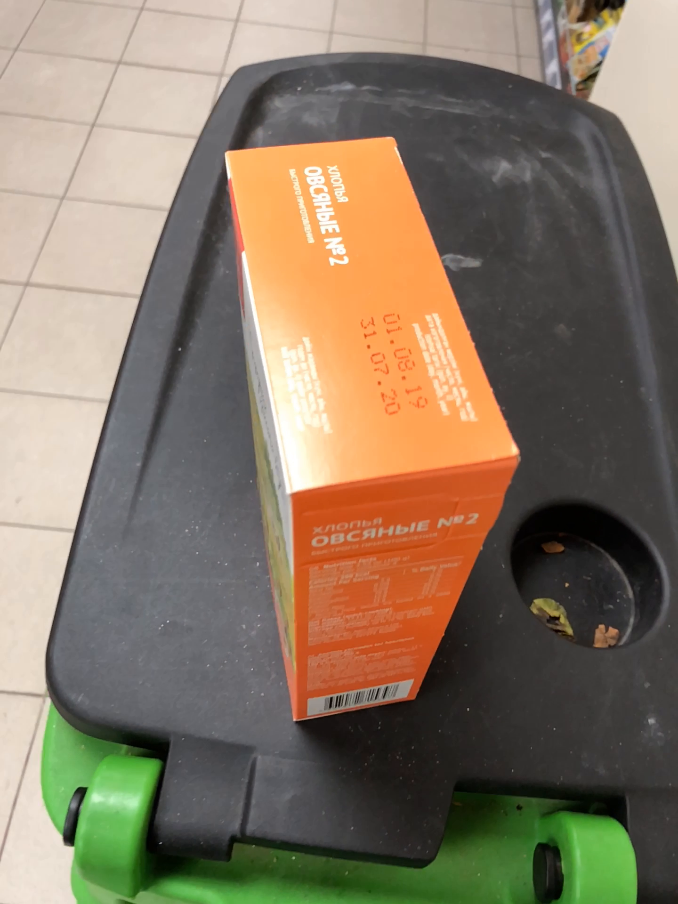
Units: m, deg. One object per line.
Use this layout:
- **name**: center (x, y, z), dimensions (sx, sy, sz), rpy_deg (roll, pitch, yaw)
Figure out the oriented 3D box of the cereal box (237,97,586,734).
- **cereal box**: center (0.005, 0.004, 0.295), dimensions (0.060, 0.209, 0.151), rpy_deg (-8, 58, -10)
